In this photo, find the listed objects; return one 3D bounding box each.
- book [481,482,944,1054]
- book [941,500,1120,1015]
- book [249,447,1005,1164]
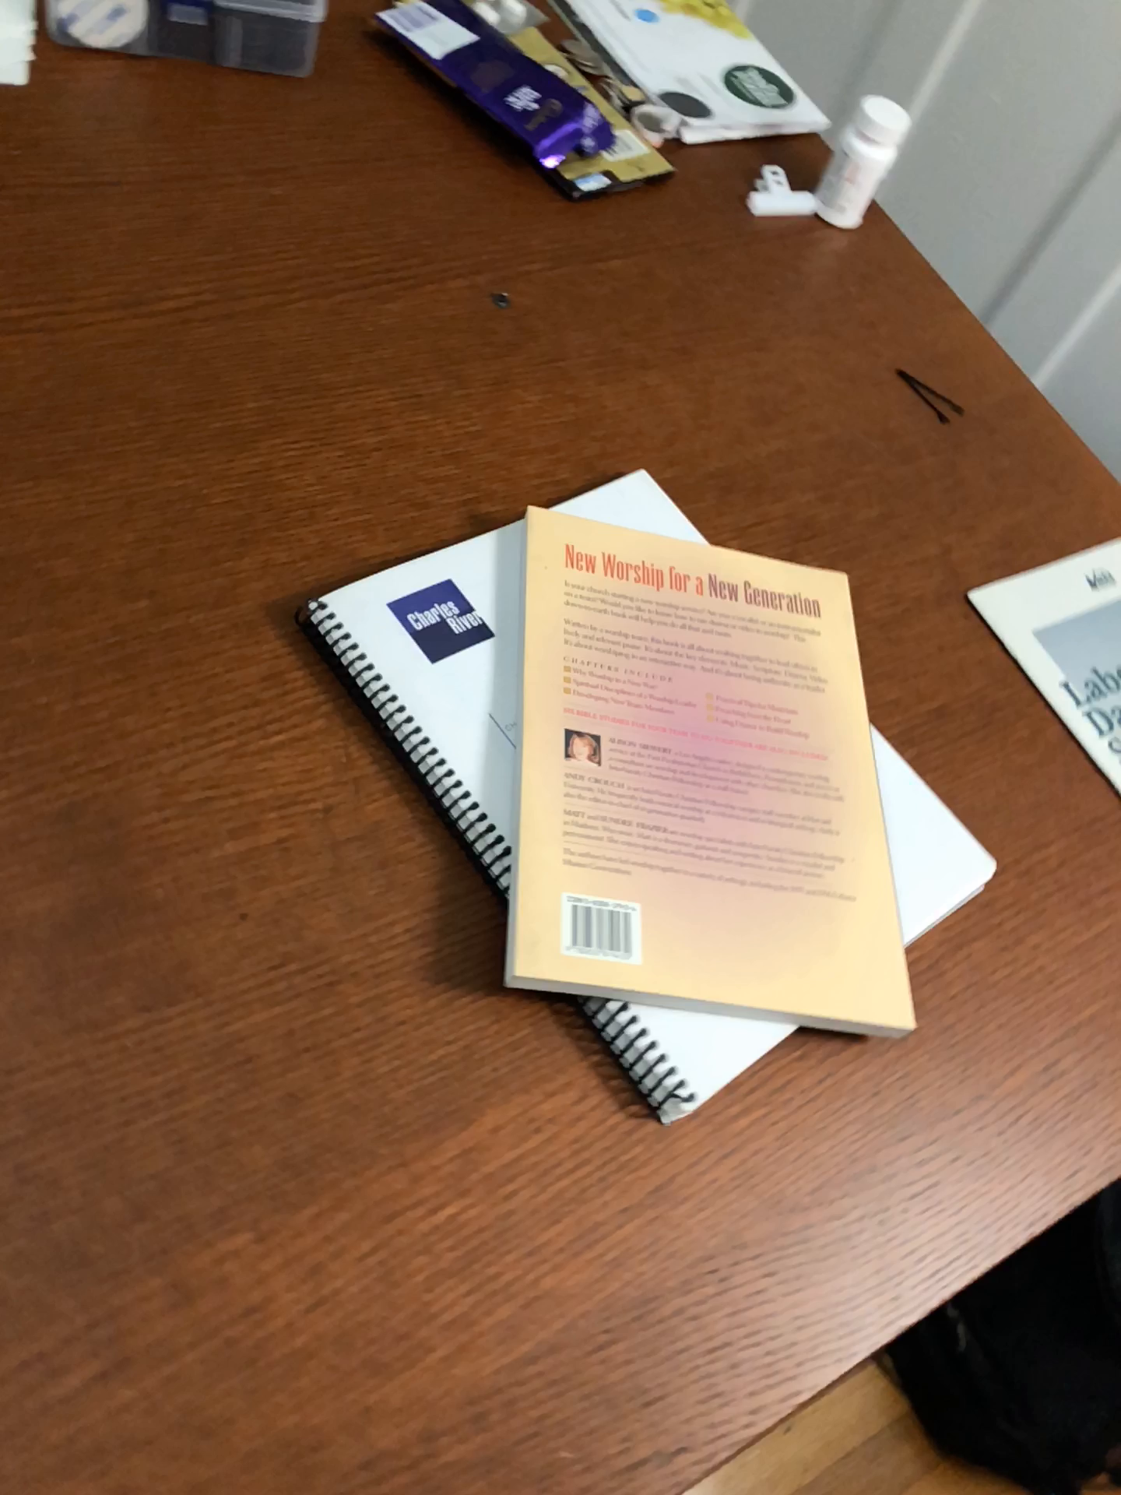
[{"bbox_3d":[0.065,0.000,0.563,0.190,0.020,0.261,9,57,-13],"label":"book"},{"bbox_3d":[0.362,-0.013,0.683,0.201,0.010,0.270,-20,67,-28],"label":"book"},{"bbox_3d":[0.034,0.001,0.573,0.231,0.020,0.290,-29,71,-31],"label":"book"}]
